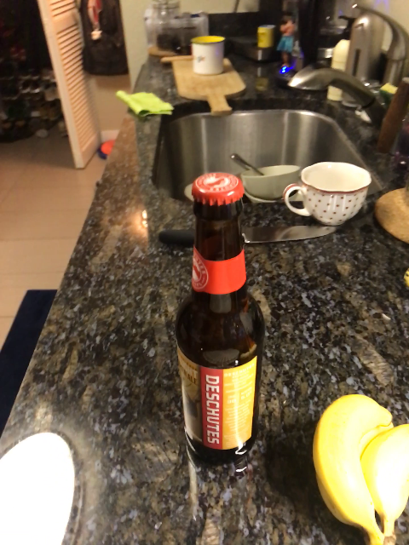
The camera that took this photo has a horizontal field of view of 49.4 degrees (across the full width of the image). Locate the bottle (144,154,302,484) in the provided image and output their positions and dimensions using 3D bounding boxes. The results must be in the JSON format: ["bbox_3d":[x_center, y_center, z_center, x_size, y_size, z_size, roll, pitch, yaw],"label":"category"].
[{"bbox_3d":[0.009,0.039,0.266,0.060,0.199,0.060,-2,37,1],"label":"bottle"}]
